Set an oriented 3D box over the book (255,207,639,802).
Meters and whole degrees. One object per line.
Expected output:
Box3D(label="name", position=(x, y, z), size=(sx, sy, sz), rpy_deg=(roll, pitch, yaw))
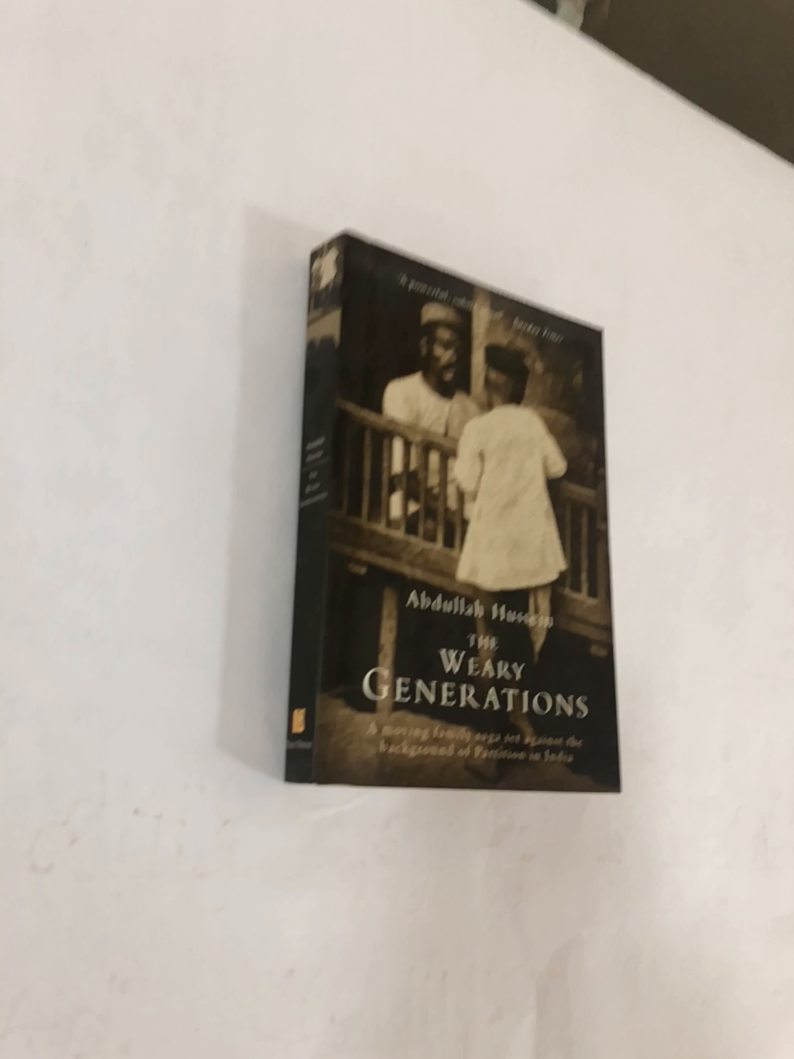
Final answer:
Box3D(label="book", position=(0.025, -0.003, 0.332), size=(0.140, 0.030, 0.200), rpy_deg=(11, 71, -30))
